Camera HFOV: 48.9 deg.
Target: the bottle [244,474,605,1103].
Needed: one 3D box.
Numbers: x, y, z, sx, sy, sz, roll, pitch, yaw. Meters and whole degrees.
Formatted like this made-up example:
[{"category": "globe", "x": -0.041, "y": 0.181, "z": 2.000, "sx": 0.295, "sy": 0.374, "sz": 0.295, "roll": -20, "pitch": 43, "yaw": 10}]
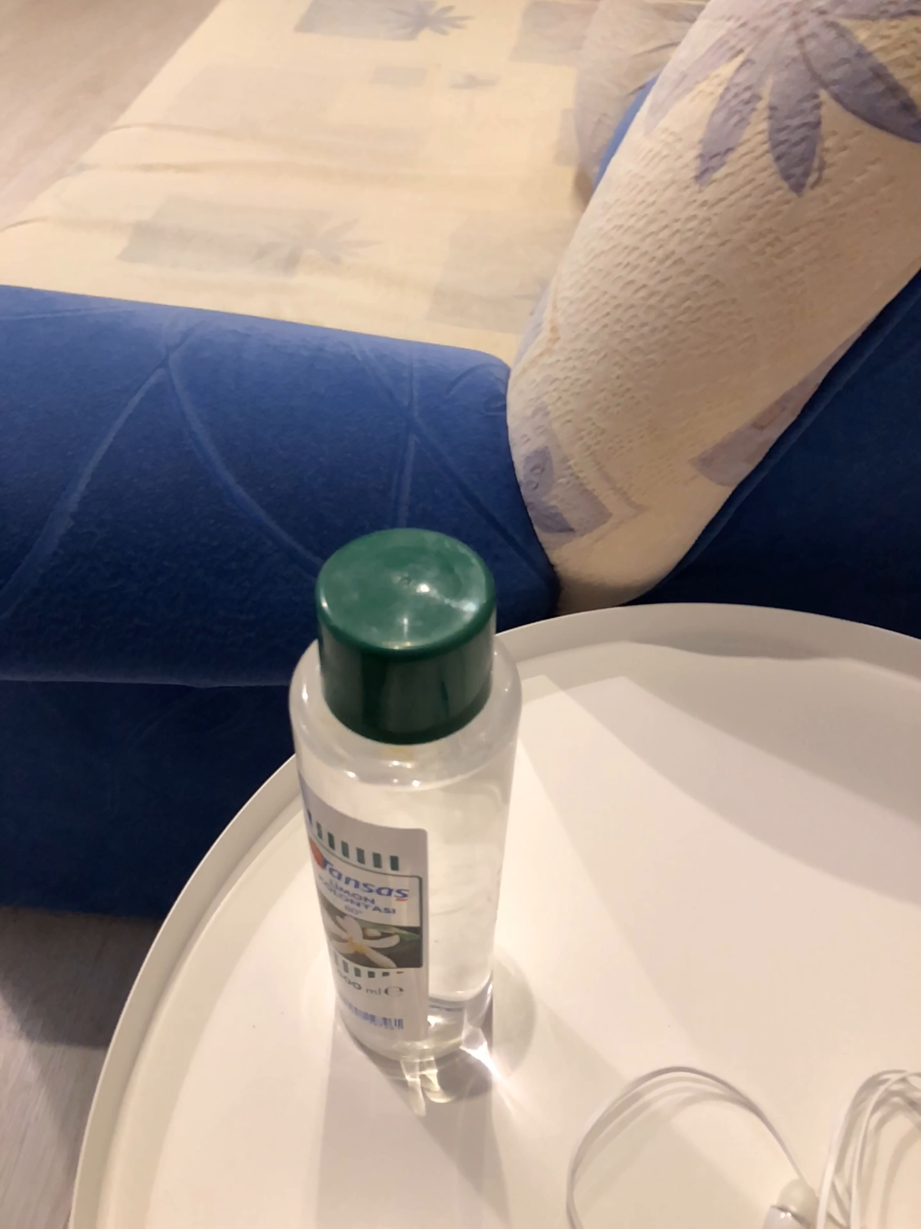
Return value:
[{"category": "bottle", "x": -0.010, "y": 0.063, "z": 0.288, "sx": 0.052, "sy": 0.199, "sz": 0.060, "roll": 28, "pitch": 52, "yaw": 22}]
